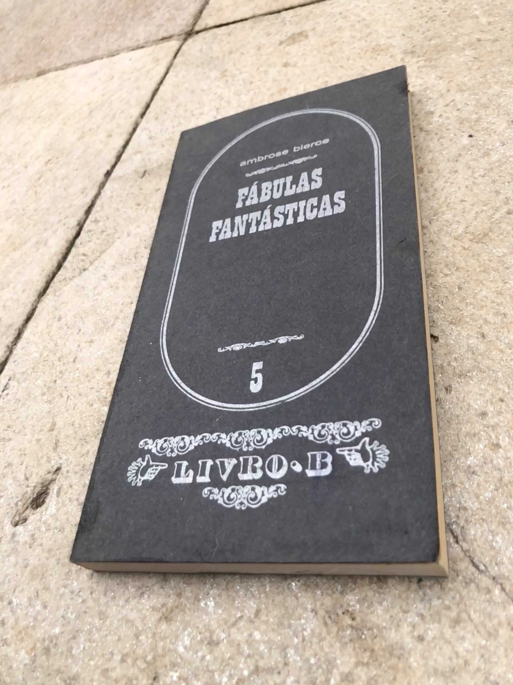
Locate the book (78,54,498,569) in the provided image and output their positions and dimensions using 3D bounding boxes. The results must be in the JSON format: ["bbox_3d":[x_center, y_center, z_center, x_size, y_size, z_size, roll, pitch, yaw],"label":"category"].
[{"bbox_3d":[0.011,-0.022,0.188,0.104,0.013,0.177,-8,54,22],"label":"book"}]
